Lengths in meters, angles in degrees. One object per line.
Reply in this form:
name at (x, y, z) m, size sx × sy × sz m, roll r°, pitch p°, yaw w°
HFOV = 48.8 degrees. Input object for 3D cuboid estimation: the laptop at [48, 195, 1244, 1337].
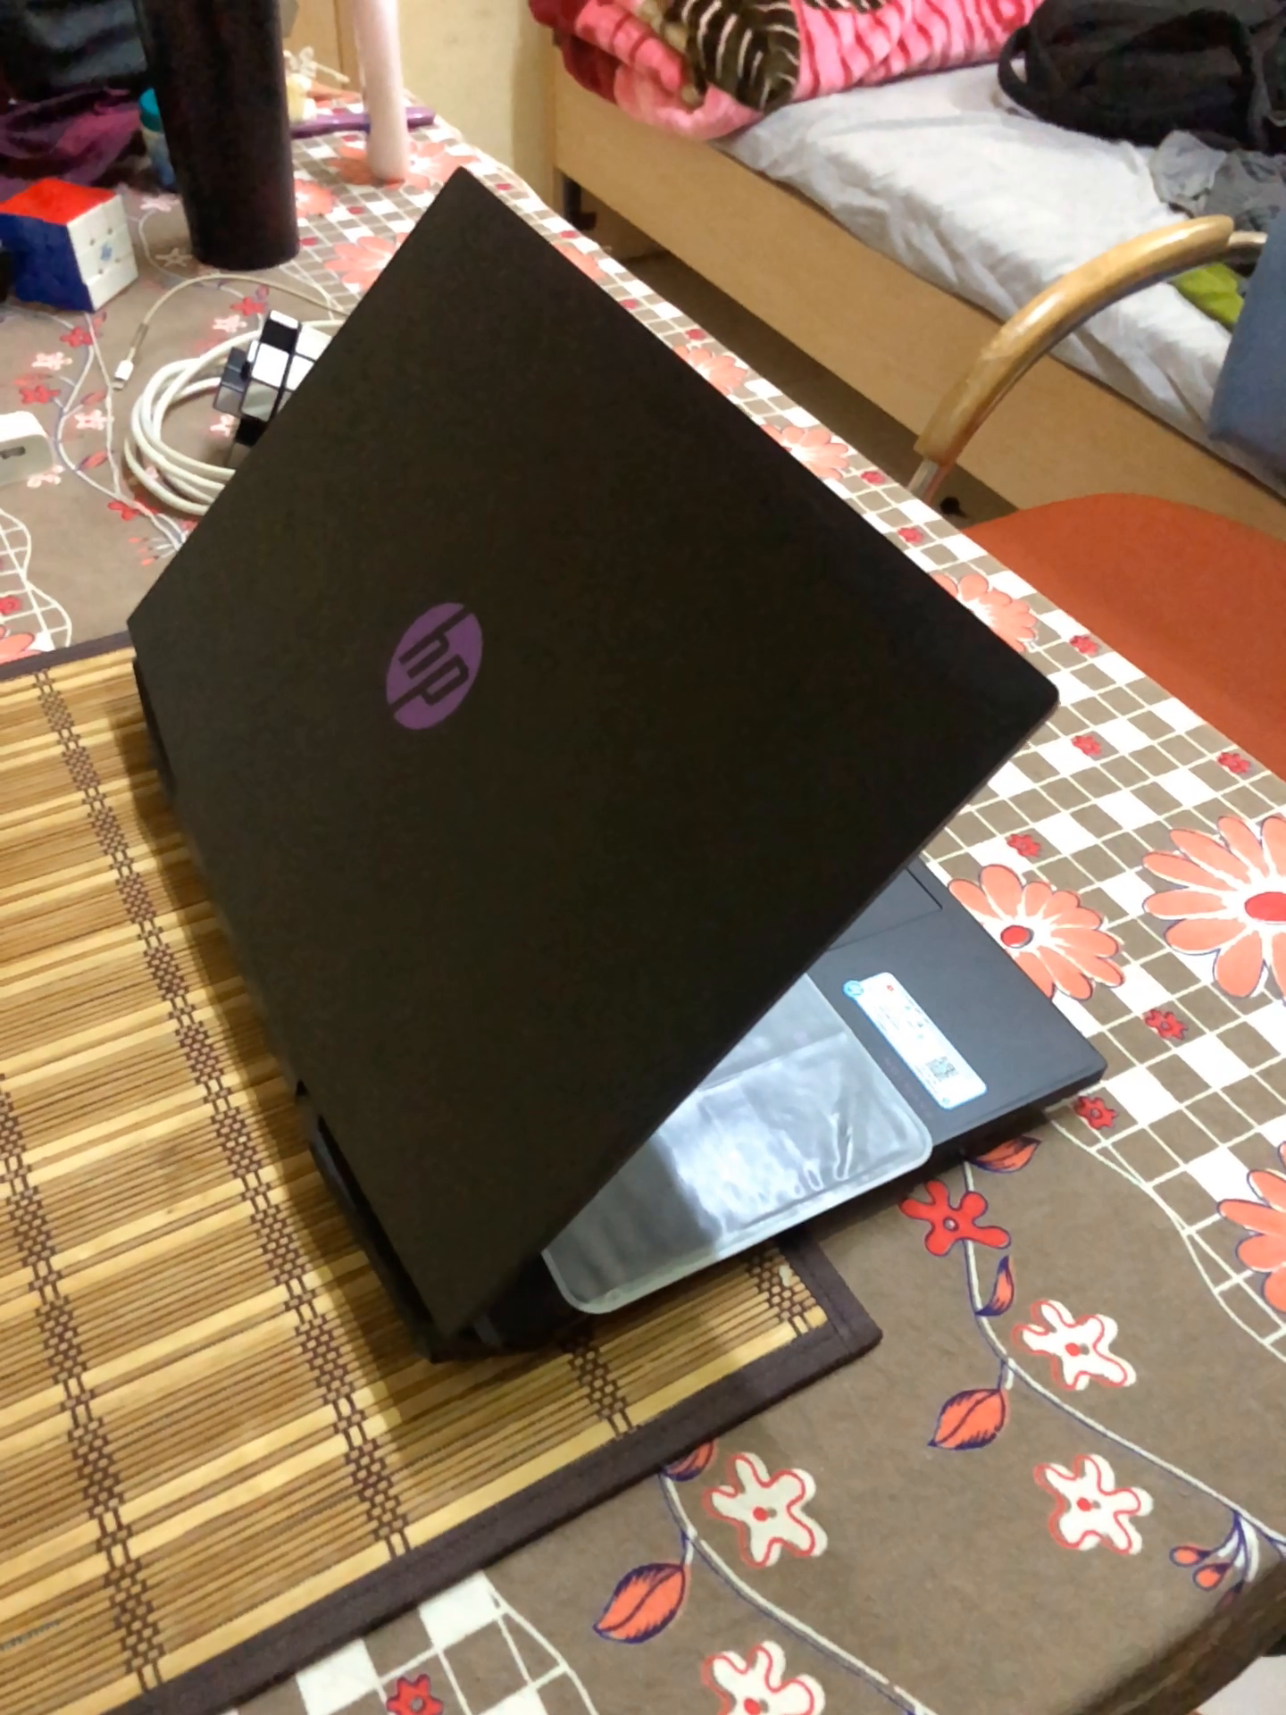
laptop at (-0.025, -0.072, 0.494) m, size 0.237 × 0.164 × 0.357 m, roll -16°, pitch 50°, yaw -23°
